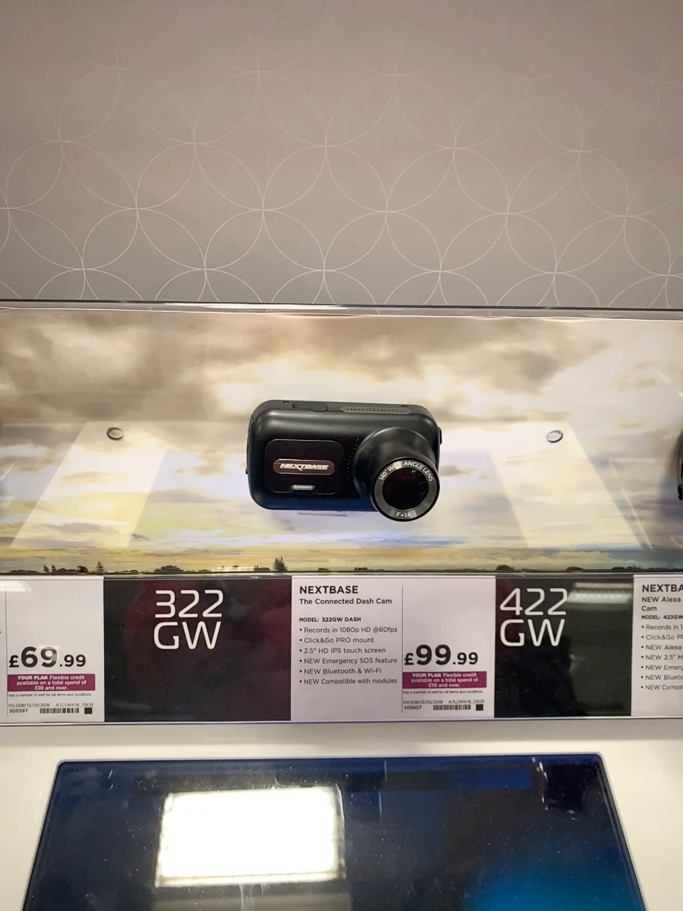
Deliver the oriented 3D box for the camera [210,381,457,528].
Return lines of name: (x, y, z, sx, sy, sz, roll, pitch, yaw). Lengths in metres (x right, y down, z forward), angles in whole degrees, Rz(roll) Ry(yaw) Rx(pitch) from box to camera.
camera: (-0.003, -0.003, 0.296, 0.090, 0.040, 0.070, 2, 17, 0)
